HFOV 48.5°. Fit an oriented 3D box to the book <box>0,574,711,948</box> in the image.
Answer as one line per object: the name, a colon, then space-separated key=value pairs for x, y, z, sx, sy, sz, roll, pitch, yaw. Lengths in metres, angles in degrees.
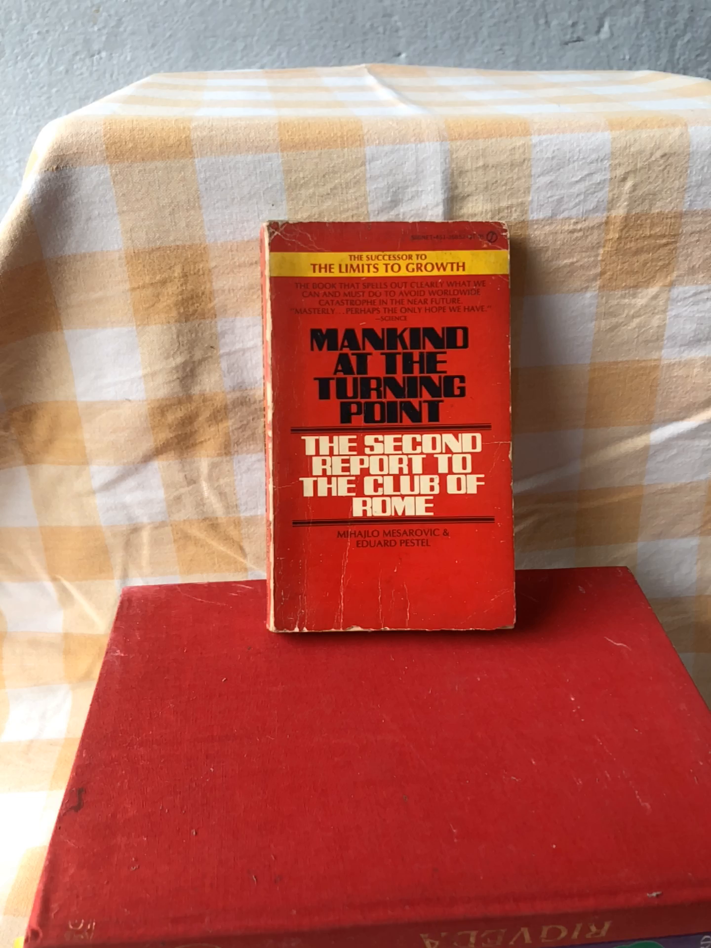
book: x=0.008 y=0.132 z=0.364 sx=0.270 sy=0.040 sz=0.191 roll=-4 pitch=32 yaw=0

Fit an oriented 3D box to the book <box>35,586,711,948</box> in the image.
book: x=0.012 y=0.136 z=0.352 sx=0.240 sy=0.040 sz=0.191 roll=-4 pitch=32 yaw=0

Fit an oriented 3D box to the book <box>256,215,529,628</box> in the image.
book: x=0.016 y=-0.022 z=0.348 sx=0.110 sy=0.170 sz=0.040 roll=-1 pitch=7 yaw=-2

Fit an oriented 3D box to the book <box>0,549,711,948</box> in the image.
book: x=0.012 y=0.119 z=0.367 sx=0.280 sy=0.040 sz=0.191 roll=-4 pitch=32 yaw=0
